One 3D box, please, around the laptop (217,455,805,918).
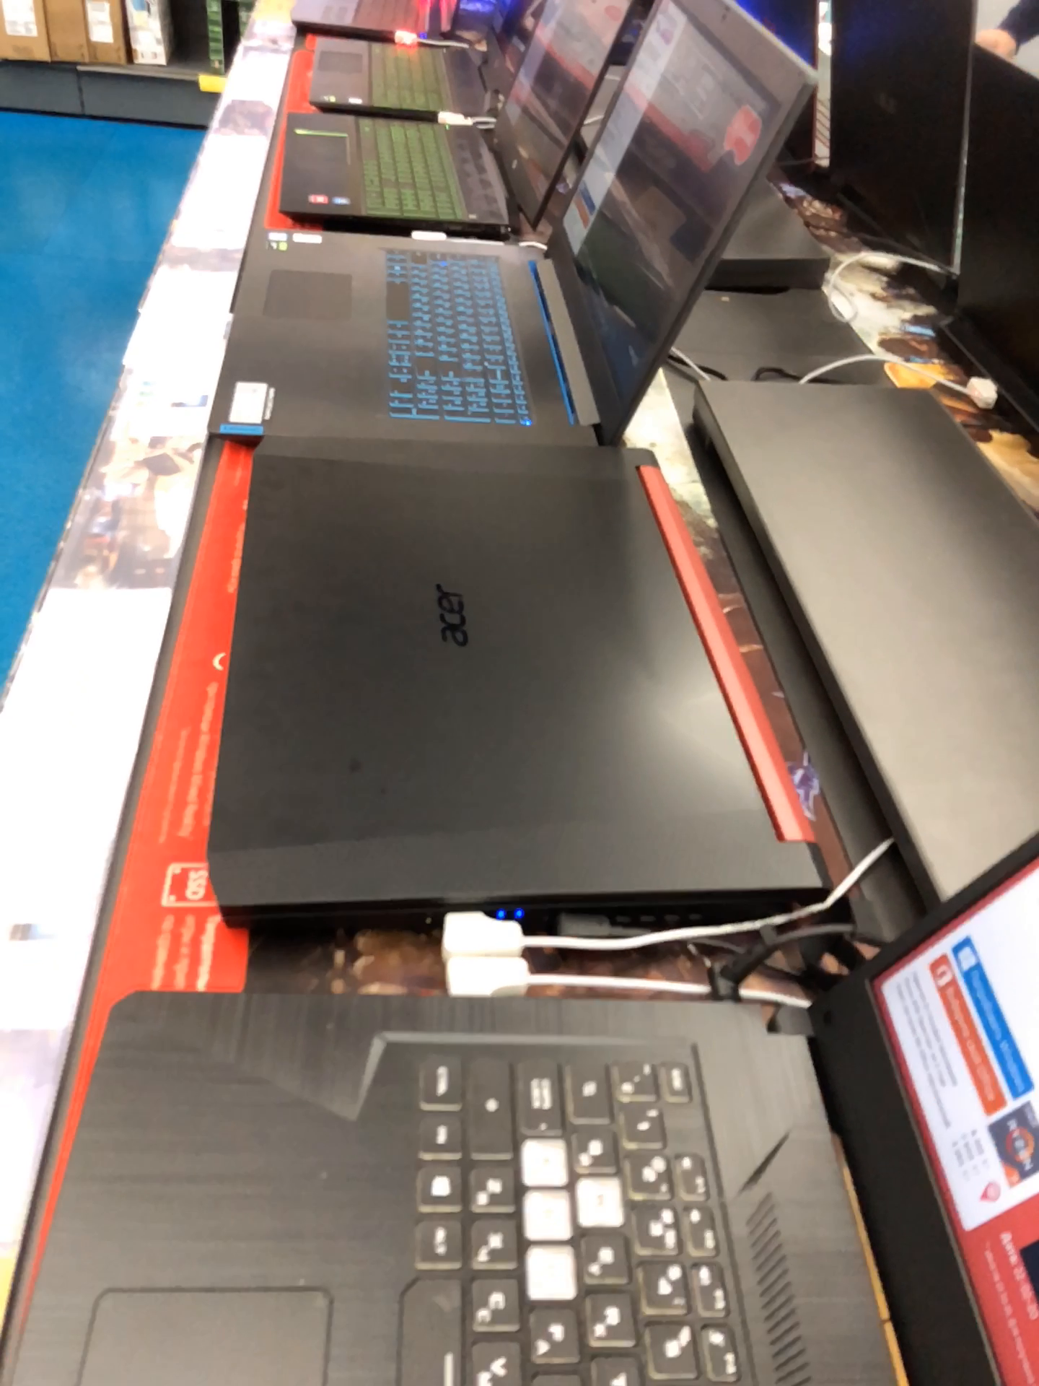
[{"bbox_3d":[-0.017,-0.031,0.622,0.255,0.002,0.372,0,42,-8],"label":"laptop"}]
